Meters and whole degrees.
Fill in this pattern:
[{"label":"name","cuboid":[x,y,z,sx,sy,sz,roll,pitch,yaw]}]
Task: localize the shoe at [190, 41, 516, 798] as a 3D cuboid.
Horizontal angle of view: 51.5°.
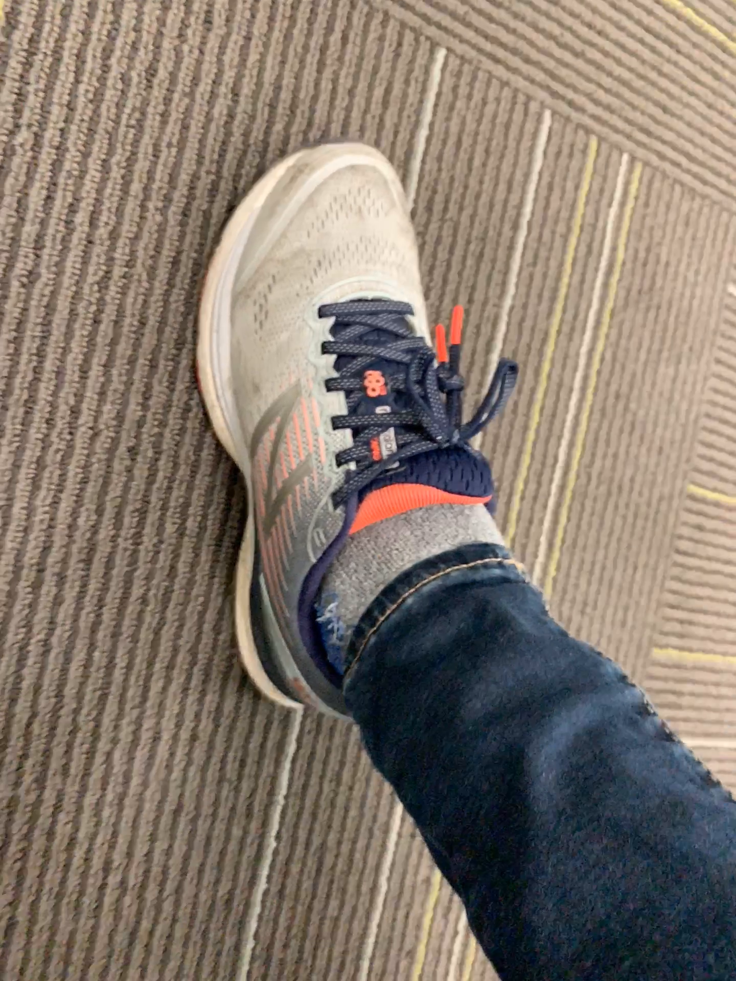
[{"label":"shoe","cuboid":[-0.012,-0.025,0.339,0.110,0.090,0.270,-2,97,-28]}]
